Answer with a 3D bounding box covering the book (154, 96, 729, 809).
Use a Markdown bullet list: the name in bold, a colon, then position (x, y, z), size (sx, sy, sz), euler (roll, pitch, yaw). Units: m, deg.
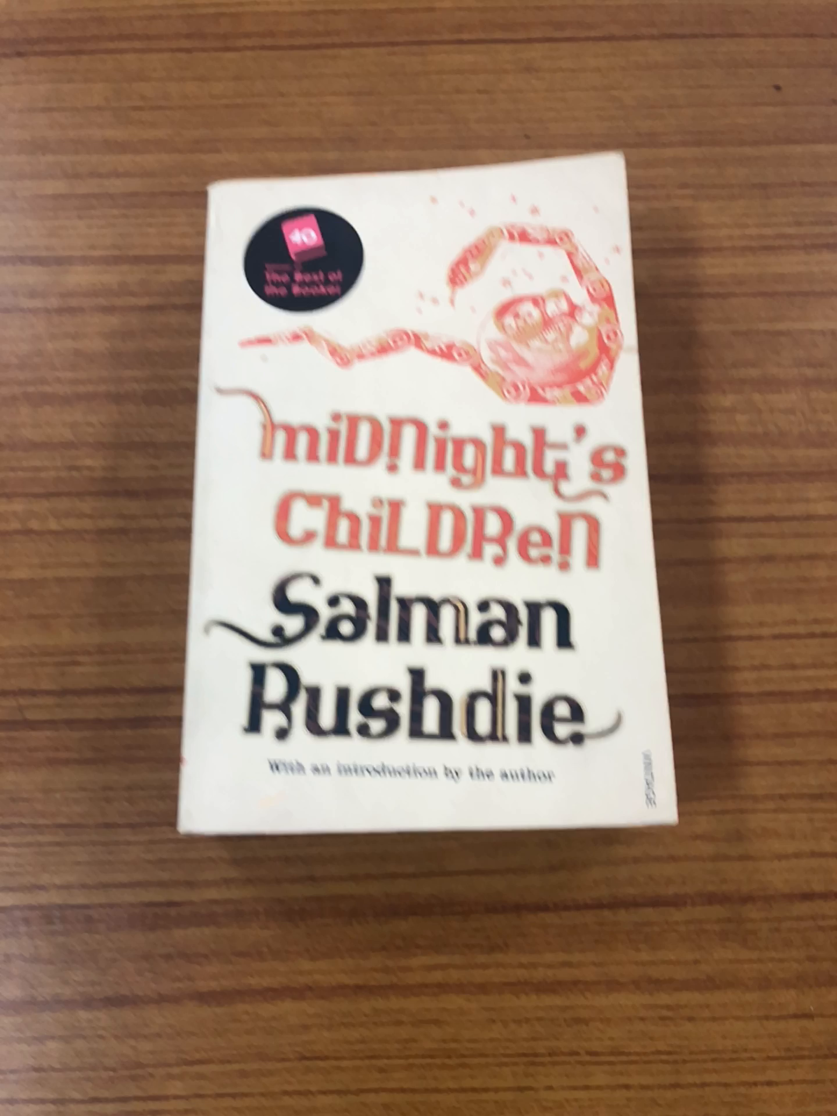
- **book**: position (0.003, -0.032, 0.275), size (0.140, 0.040, 0.200), euler (-3, 74, 3)
